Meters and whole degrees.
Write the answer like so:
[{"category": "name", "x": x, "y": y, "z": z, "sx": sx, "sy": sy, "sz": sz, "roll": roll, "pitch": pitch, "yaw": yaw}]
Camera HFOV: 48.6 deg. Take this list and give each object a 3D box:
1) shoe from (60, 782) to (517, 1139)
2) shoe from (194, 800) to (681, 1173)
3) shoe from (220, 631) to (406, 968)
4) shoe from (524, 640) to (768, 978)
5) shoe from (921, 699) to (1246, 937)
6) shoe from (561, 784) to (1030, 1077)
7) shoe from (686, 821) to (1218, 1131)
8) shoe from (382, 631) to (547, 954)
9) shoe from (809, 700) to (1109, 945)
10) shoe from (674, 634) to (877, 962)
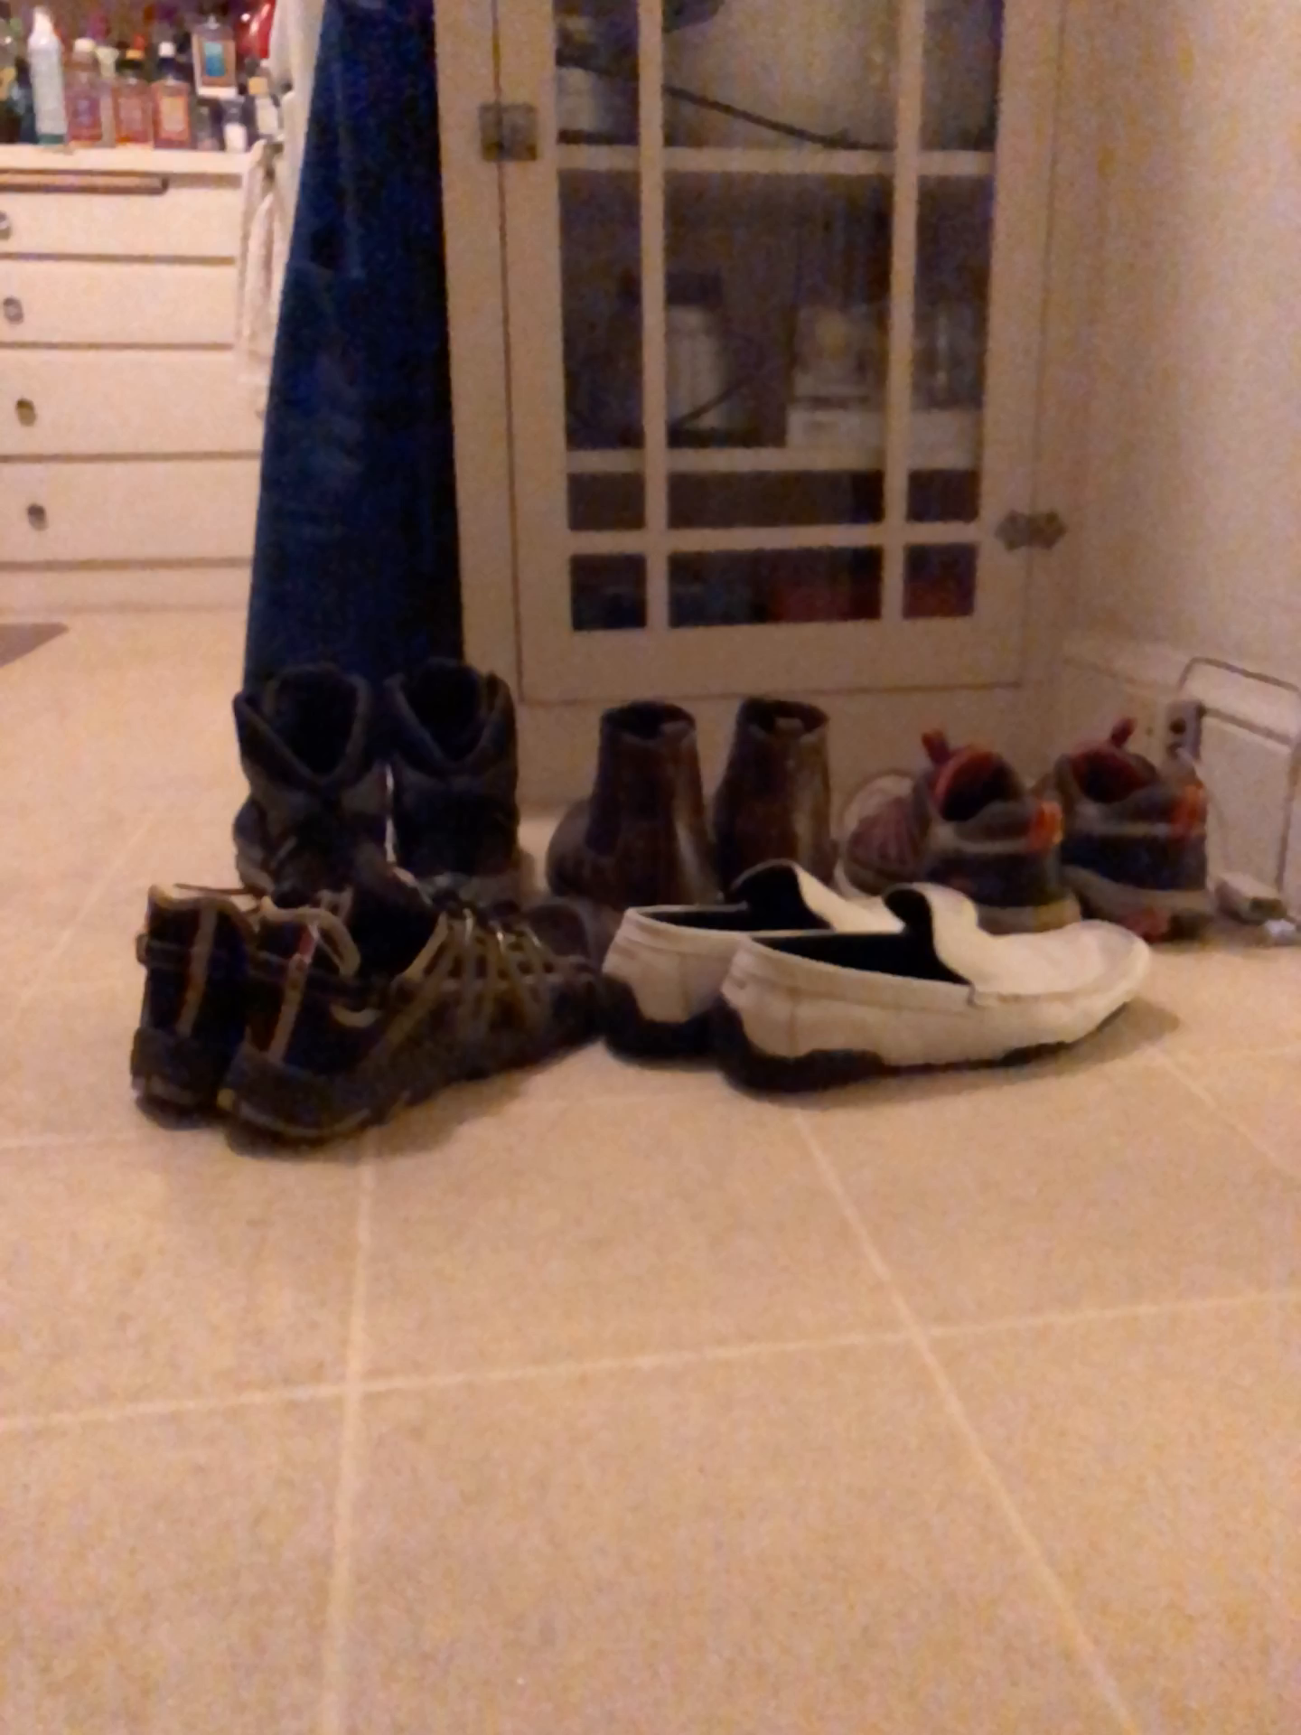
[{"category": "shoe", "x": -0.209, "y": 0.042, "z": 0.906, "sx": 0.110, "sy": 0.123, "sz": 0.294, "roll": 7, "pitch": 18, "yaw": 25}, {"category": "shoe", "x": -0.112, "y": 0.055, "z": 0.870, "sx": 0.110, "sy": 0.123, "sz": 0.294, "roll": 12, "pitch": 20, "yaw": 35}, {"category": "shoe", "x": -0.278, "y": -0.071, "z": 1.153, "sx": 0.110, "sy": 0.192, "sz": 0.324, "roll": -5, "pitch": 17, "yaw": -16}, {"category": "shoe", "x": -0.015, "y": -0.063, "z": 1.155, "sx": 0.110, "sy": 0.192, "sz": 0.324, "roll": -5, "pitch": 17, "yaw": -15}, {"category": "shoe", "x": 0.335, "y": -0.052, "z": 1.169, "sx": 0.110, "sy": 0.113, "sz": 0.314, "roll": -4, "pitch": 17, "yaw": -11}, {"category": "shoe", "x": 0.101, "y": 0.030, "z": 0.954, "sx": 0.303, "sy": 0.113, "sz": 0.110, "roll": -11, "pitch": 19, "yaw": -32}, {"category": "shoe", "x": 0.182, "y": 0.056, "z": 0.873, "sx": 0.303, "sy": 0.113, "sz": 0.110, "roll": -8, "pitch": 18, "yaw": -23}, {"category": "shoe", "x": -0.162, "y": -0.077, "z": 1.197, "sx": 0.110, "sy": 0.192, "sz": 0.324, "roll": -3, "pitch": 17, "yaw": -10}, {"category": "shoe", "x": 0.229, "y": -0.048, "z": 1.141, "sx": 0.110, "sy": 0.113, "sz": 0.314, "roll": -4, "pitch": 17, "yaw": -11}, {"category": "shoe", "x": 0.089, "y": -0.072, "z": 1.176, "sx": 0.110, "sy": 0.192, "sz": 0.324, "roll": -2, "pitch": 16, "yaw": -4}]
